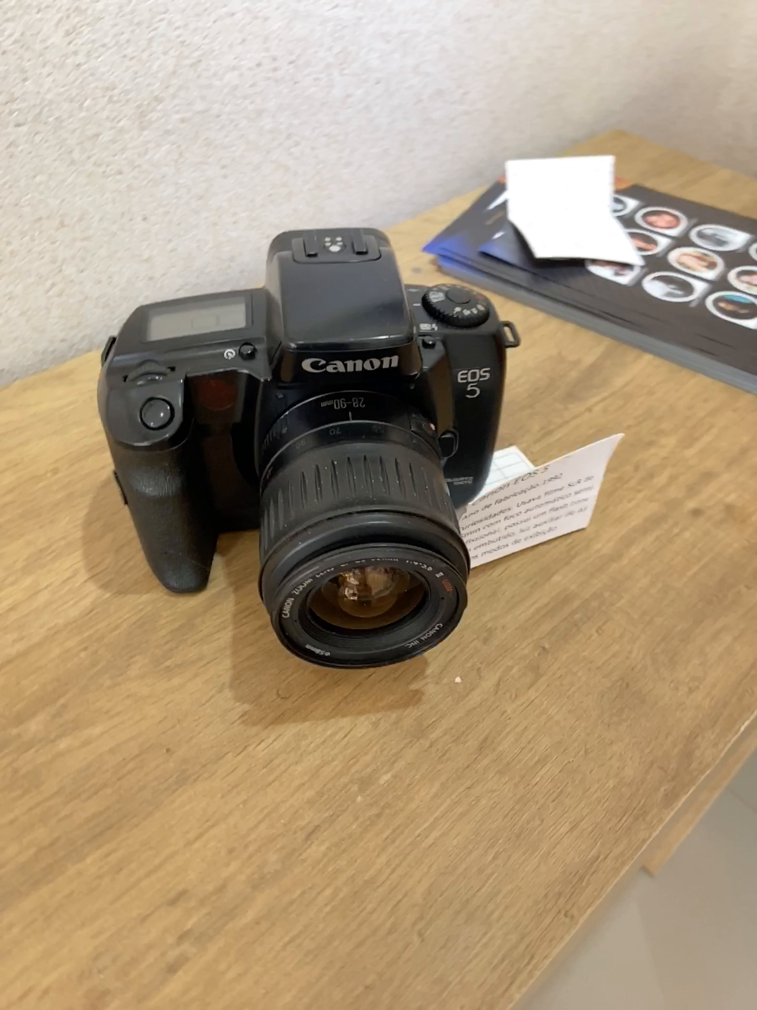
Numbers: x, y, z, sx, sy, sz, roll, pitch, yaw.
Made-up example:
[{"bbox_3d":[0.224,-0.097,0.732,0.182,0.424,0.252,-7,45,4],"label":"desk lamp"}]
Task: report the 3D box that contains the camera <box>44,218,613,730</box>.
[{"bbox_3d":[-0.027,-0.027,0.309,0.160,0.080,0.181,-8,47,-8],"label":"camera"}]
